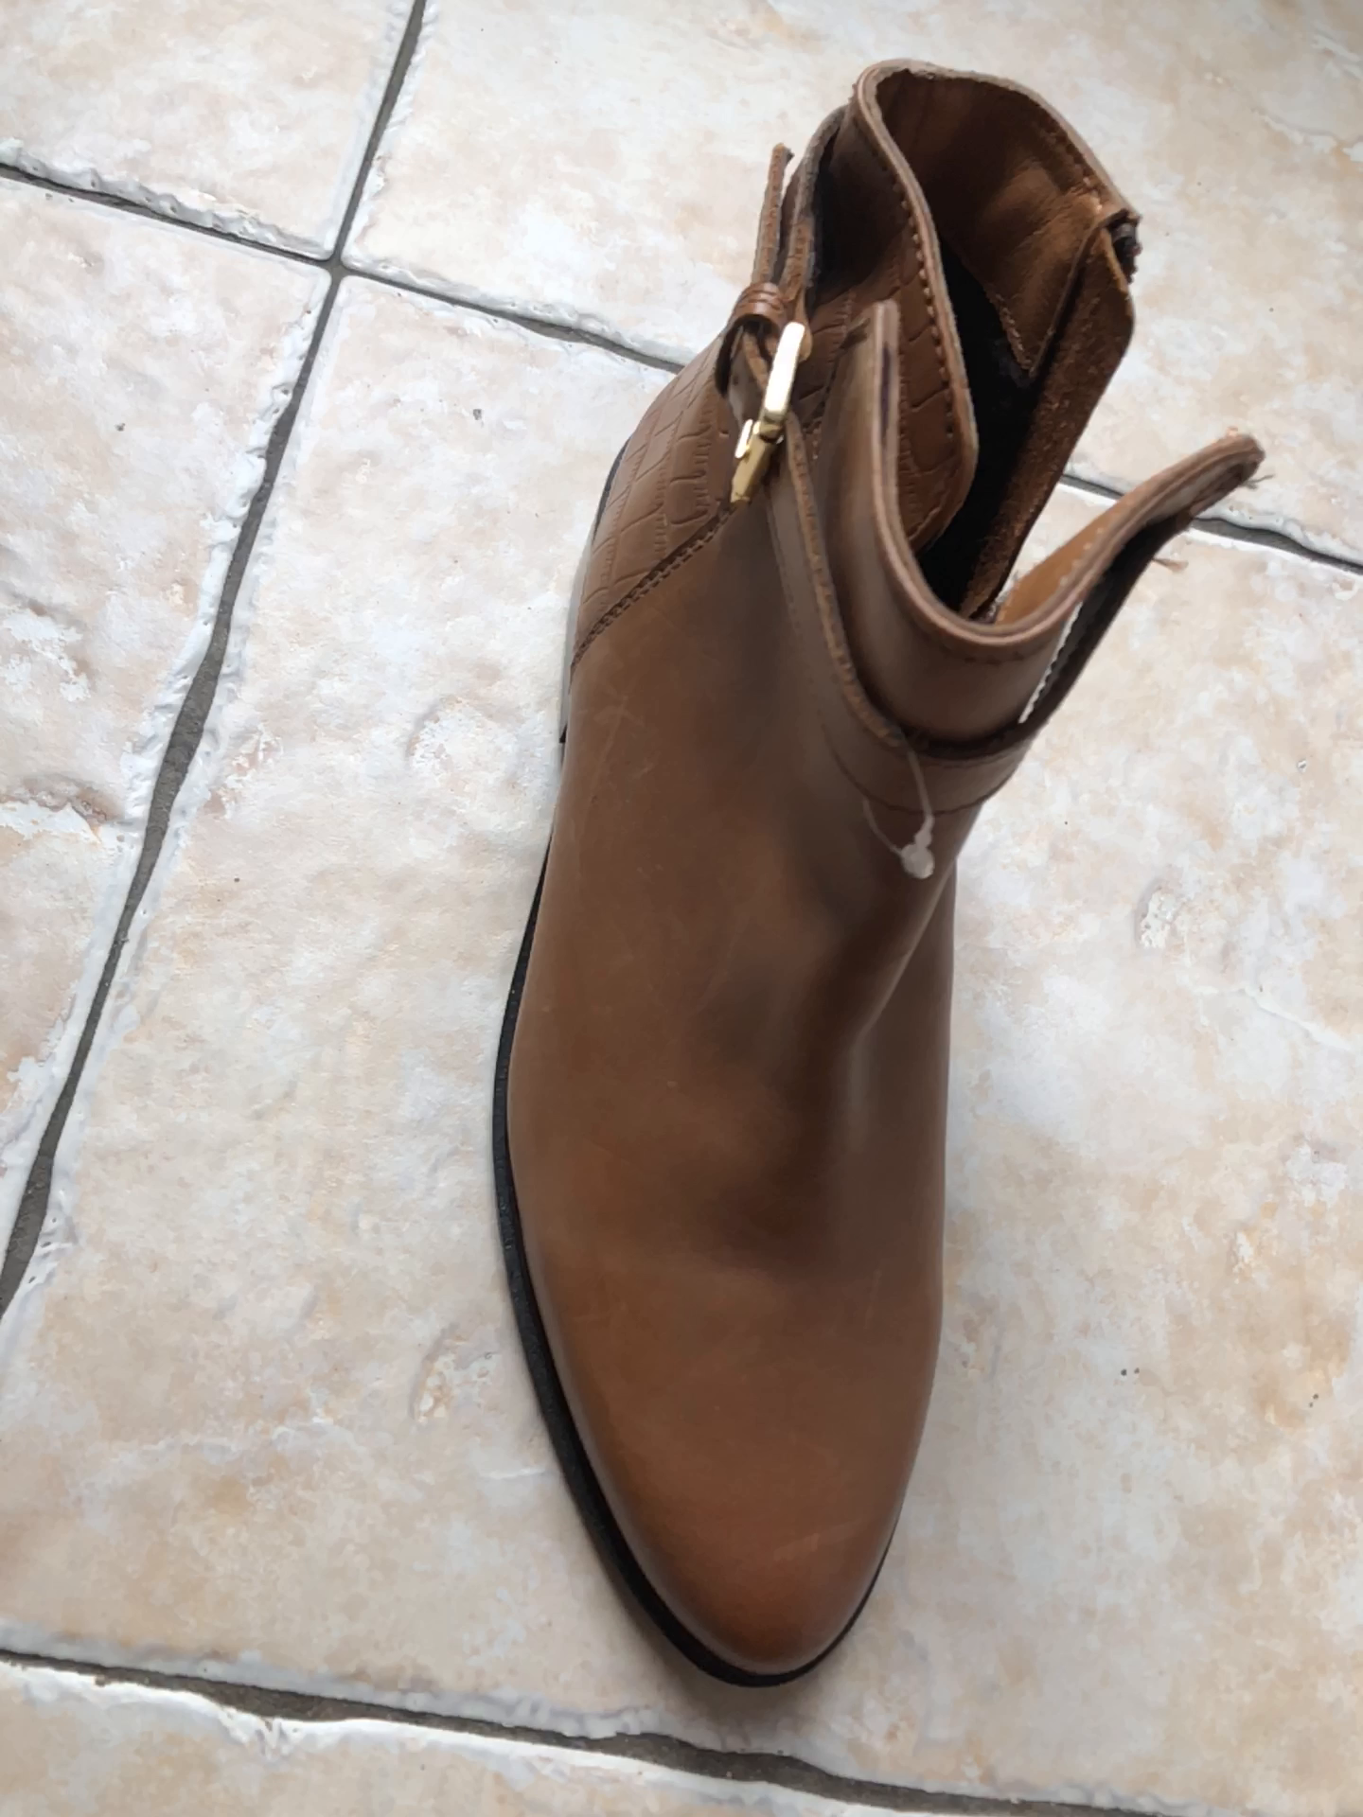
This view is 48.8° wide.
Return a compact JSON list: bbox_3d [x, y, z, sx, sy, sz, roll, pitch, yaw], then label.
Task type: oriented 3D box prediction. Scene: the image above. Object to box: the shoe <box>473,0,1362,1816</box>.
[{"bbox_3d":[0.025,-0.010,0.277,0.090,0.180,0.301,6,70,-10],"label":"shoe"}]
